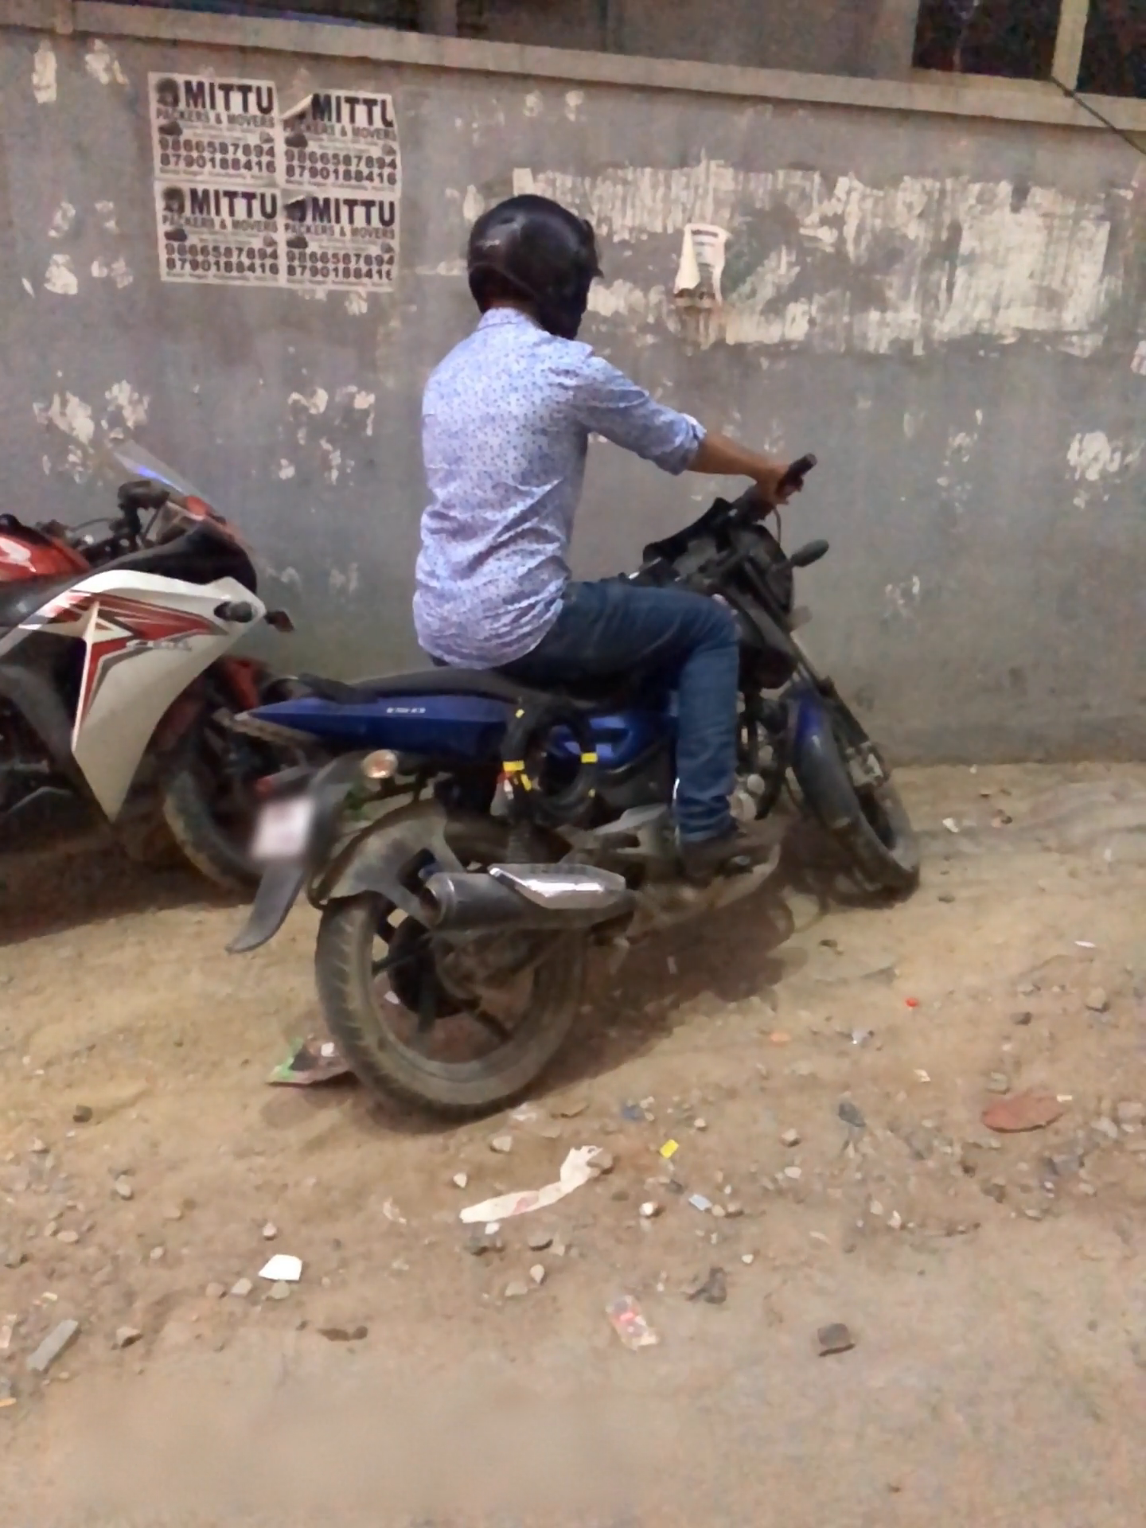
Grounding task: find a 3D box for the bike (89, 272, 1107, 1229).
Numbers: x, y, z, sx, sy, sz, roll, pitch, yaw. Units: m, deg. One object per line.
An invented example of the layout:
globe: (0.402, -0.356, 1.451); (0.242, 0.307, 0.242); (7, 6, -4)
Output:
bike: (0.091, -0.230, 2.588); (1.093, 1.113, 1.509); (19, 34, 35)
